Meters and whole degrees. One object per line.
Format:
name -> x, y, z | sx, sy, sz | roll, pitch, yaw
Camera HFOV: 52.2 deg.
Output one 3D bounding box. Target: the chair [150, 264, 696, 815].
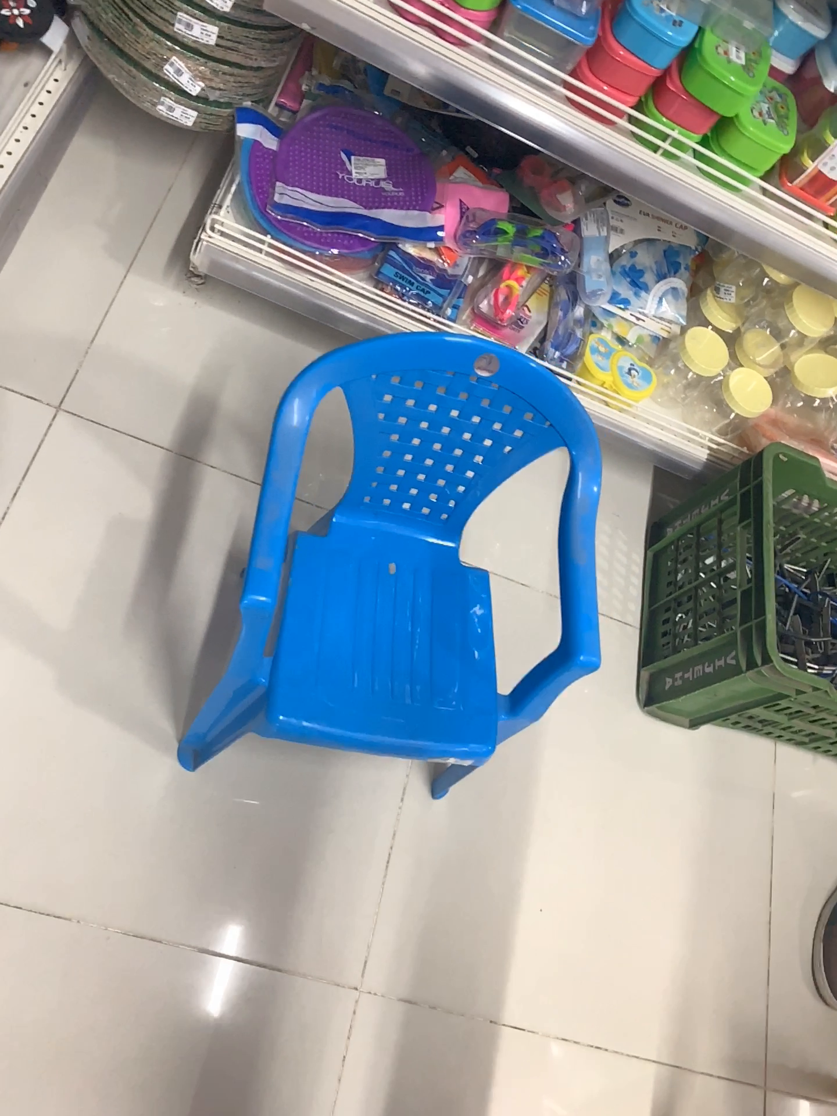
chair -> -0.033, 0.046, 0.934 | 0.401, 0.509, 0.360 | 13, 65, -17
